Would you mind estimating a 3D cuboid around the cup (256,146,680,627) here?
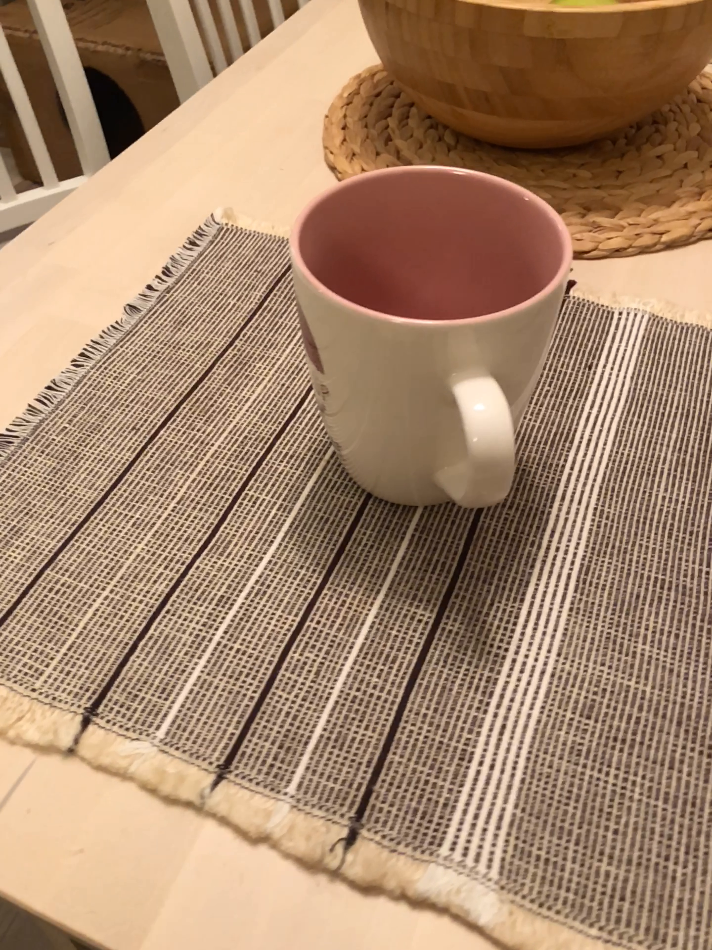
[{"bbox_3d":[0.032,-0.044,0.347,0.120,0.119,0.161,-9,48,-7],"label":"cup"}]
